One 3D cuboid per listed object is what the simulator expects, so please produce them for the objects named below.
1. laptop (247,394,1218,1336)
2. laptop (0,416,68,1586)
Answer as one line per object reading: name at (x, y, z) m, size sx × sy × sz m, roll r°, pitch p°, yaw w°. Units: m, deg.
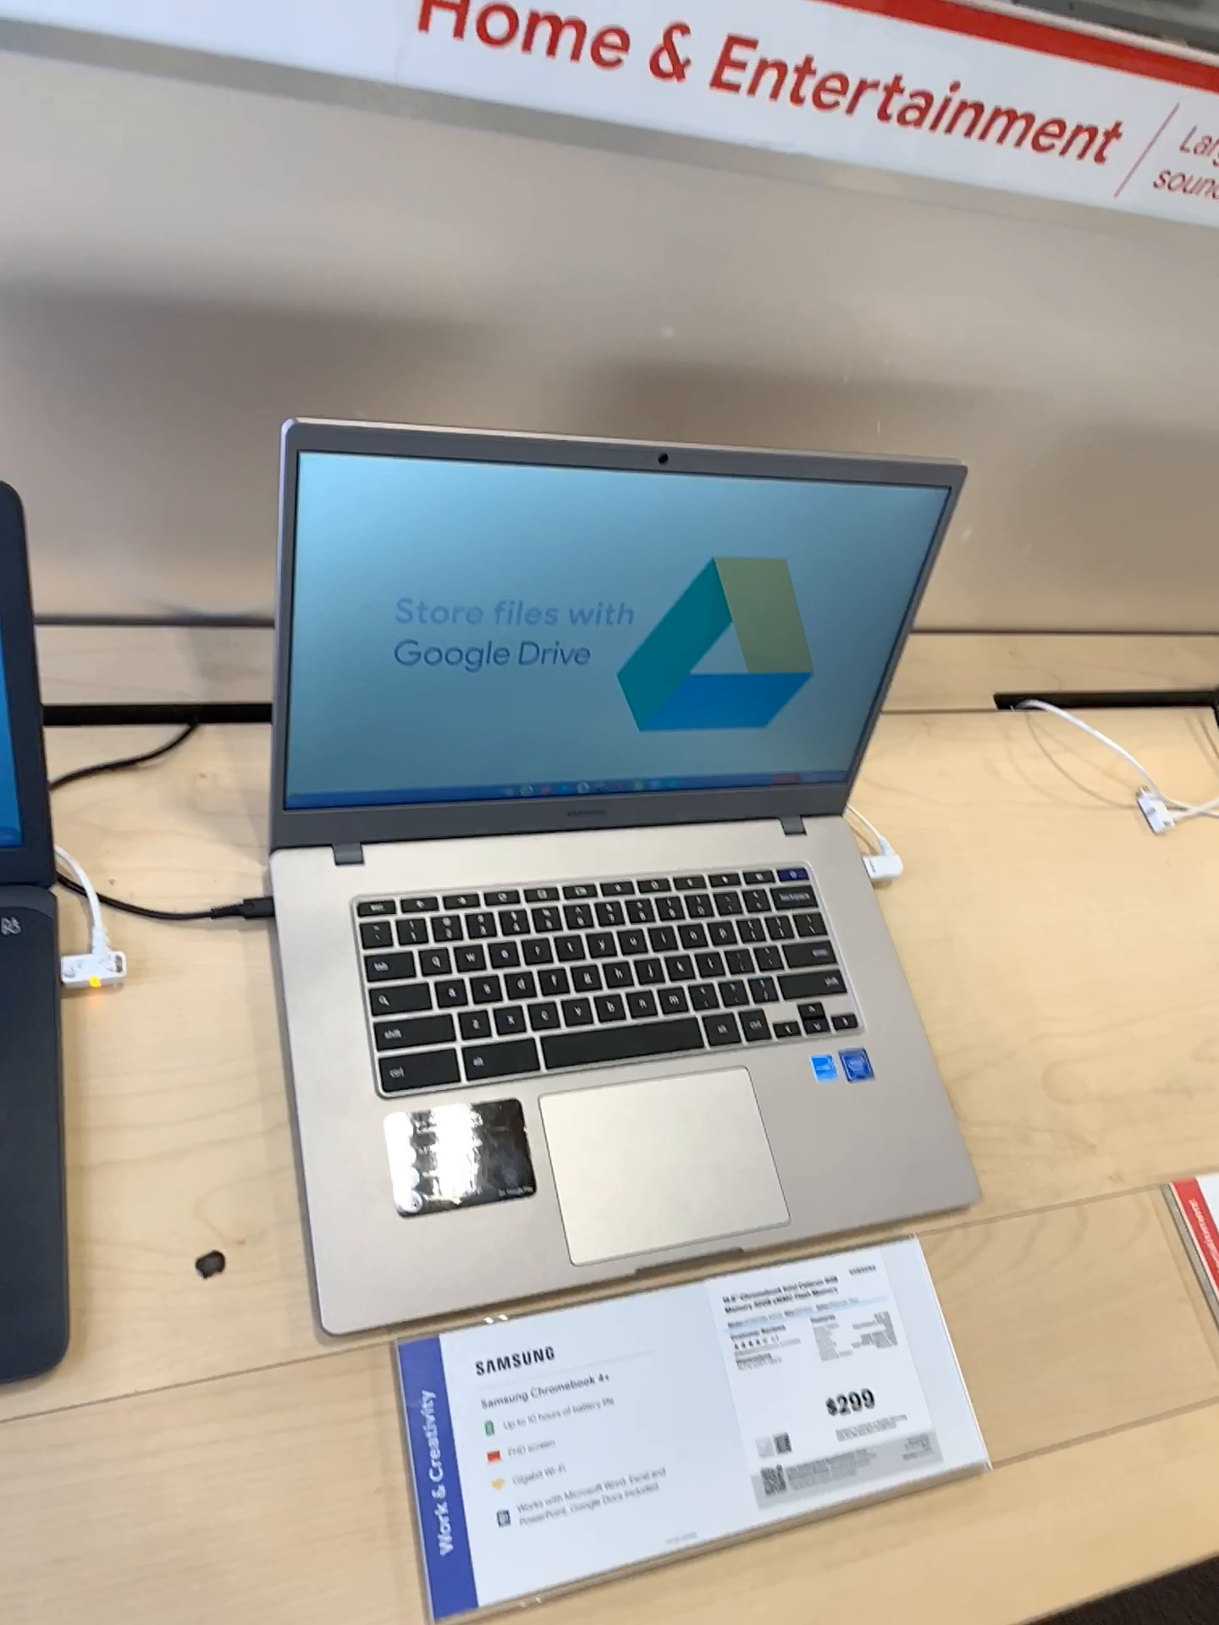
laptop at (0.031, 0.019, 0.597) m, size 0.351 × 0.205 × 0.338 m, roll -3°, pitch 62°, yaw -22°
laptop at (-0.380, 0.055, 0.431) m, size 0.321 × 0.193 × 0.294 m, roll -4°, pitch 61°, yaw -23°
